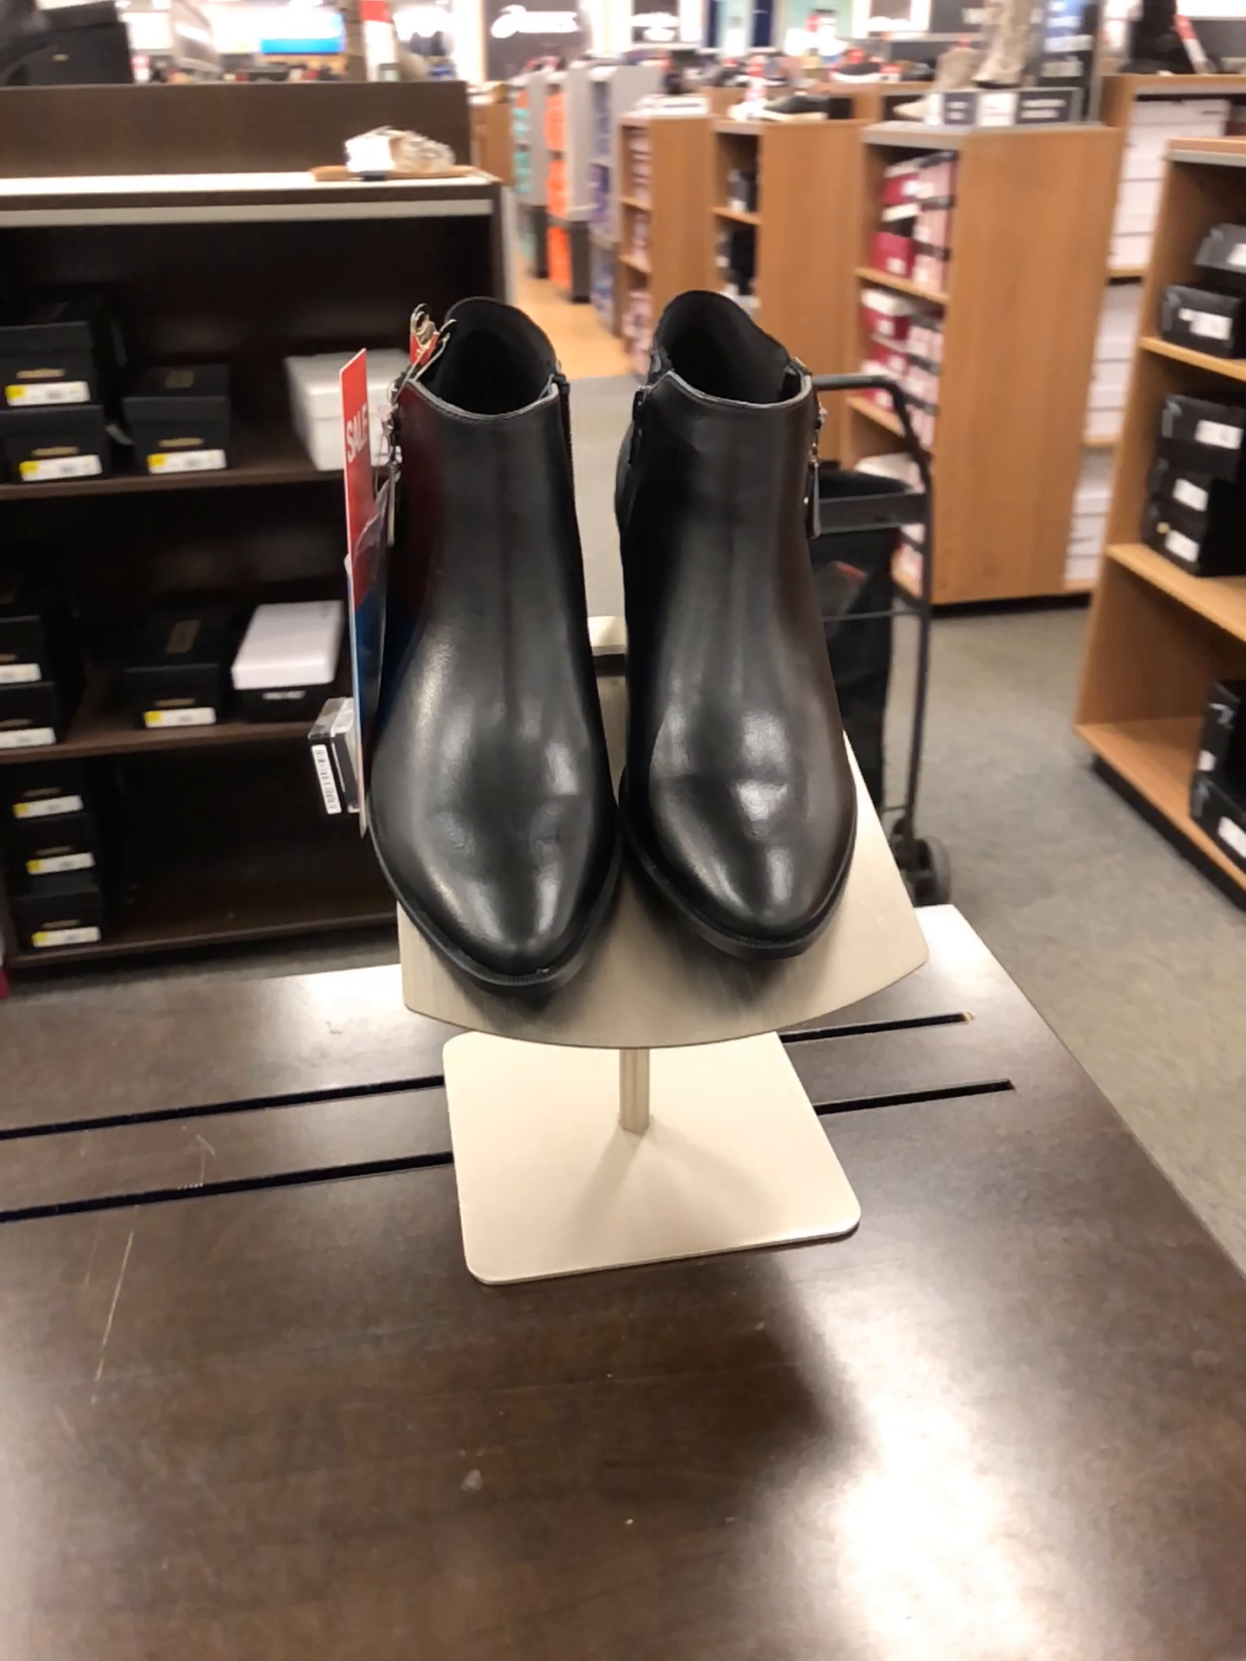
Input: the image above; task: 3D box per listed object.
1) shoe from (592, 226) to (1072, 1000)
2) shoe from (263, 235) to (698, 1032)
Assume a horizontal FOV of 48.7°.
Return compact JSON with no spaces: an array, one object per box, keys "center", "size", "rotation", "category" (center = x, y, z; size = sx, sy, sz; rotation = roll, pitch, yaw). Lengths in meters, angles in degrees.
[{"center":[0.050,-0.083,0.474],"size":[0.105,0.131,0.244],"rotation":[-3,50,-4],"category":"shoe"},{"center":[-0.045,-0.075,0.462],"size":[0.105,0.131,0.244],"rotation":[-3,50,-4],"category":"shoe"}]
